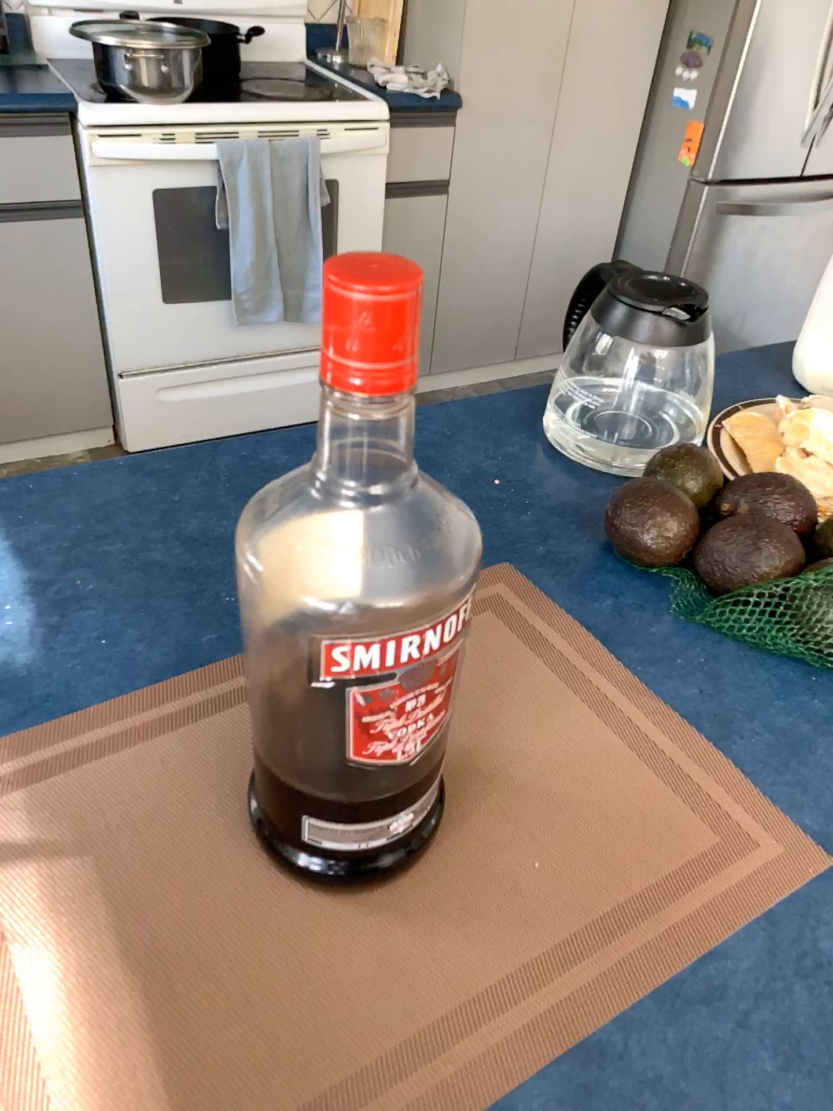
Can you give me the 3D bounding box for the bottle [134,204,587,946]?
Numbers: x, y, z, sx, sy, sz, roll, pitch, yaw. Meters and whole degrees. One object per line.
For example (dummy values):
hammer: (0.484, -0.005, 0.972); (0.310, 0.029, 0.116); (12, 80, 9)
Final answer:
bottle: (-0.035, 0.023, 0.393); (0.120, 0.317, 0.111); (4, 37, -3)
